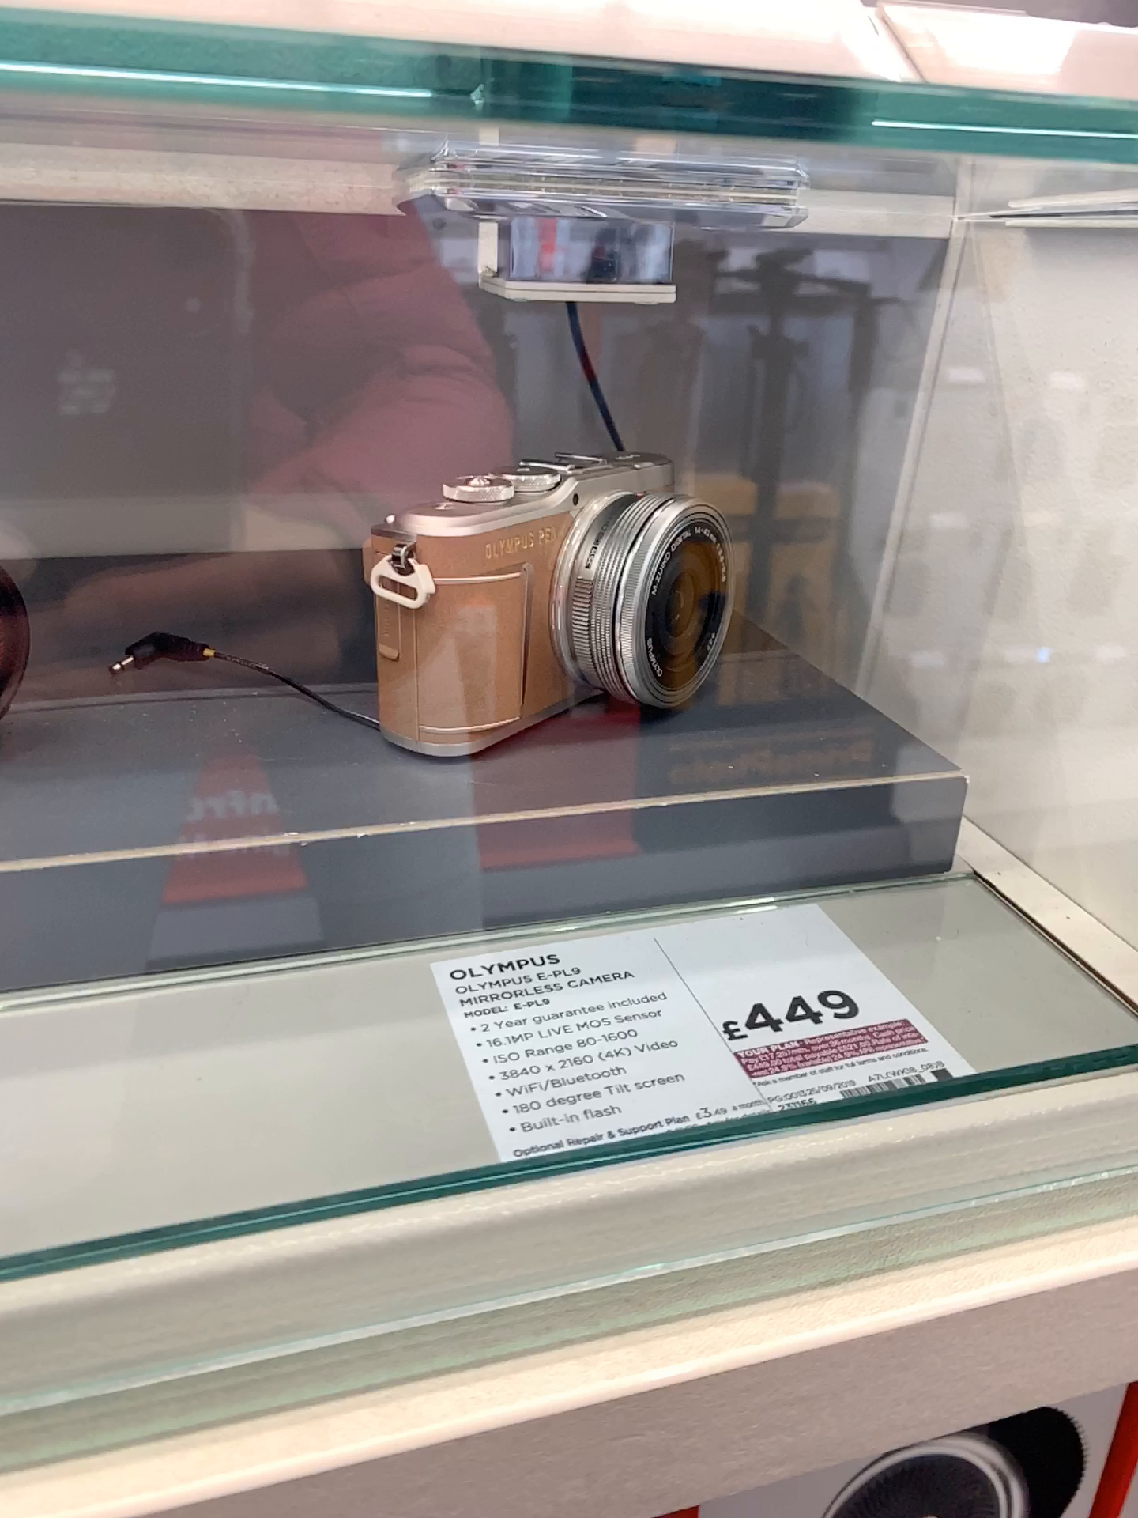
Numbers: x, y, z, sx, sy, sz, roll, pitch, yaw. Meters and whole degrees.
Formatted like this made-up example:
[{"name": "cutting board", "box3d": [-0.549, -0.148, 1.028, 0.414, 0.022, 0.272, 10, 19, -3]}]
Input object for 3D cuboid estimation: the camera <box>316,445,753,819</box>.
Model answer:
[{"name": "camera", "box3d": [-0.005, -0.044, 0.334, 0.060, 0.069, 0.121, 16, 27, 31]}]
